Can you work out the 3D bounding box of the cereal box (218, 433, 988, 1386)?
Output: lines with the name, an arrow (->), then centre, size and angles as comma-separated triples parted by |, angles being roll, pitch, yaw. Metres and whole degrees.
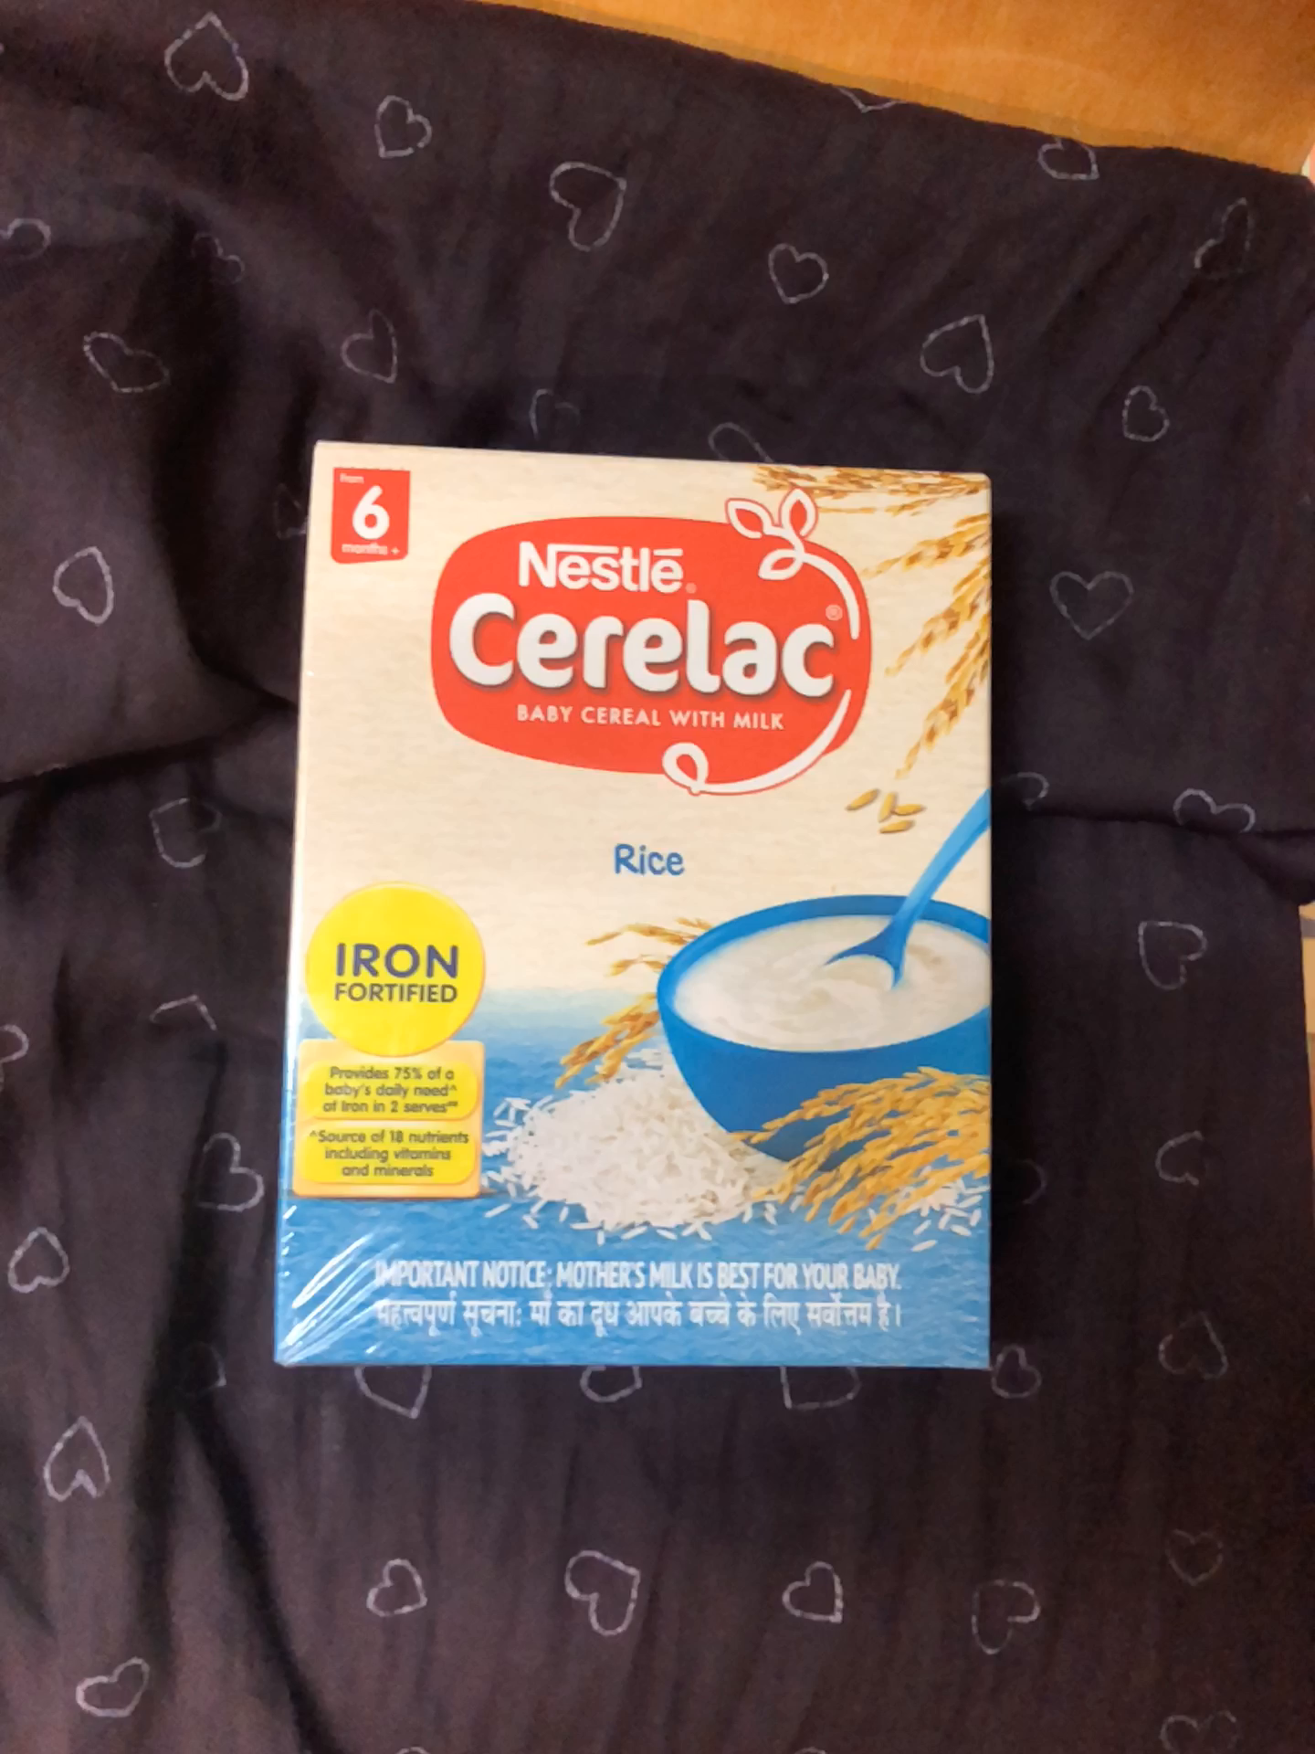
cereal box -> -0.011, 0.009, 0.348 | 0.160, 0.070, 0.200 | 2, 85, -5
